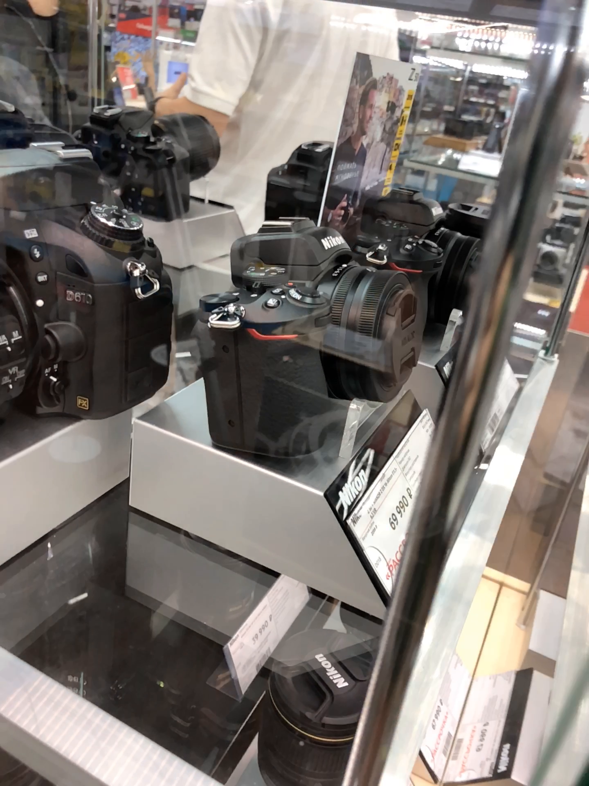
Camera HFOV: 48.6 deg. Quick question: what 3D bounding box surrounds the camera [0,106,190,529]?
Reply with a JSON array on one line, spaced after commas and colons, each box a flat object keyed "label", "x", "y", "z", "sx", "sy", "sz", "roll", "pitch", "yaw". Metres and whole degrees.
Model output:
[{"label": "camera", "x": -0.149, "y": -0.048, "z": 0.284, "sx": 0.129, "sy": 0.112, "sz": 0.150, "roll": 21, "pitch": 25, "yaw": 22}]

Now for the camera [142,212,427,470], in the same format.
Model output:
[{"label": "camera", "x": 0.004, "y": -0.037, "z": 0.332, "sx": 0.090, "sy": 0.092, "sz": 0.127, "roll": 8, "pitch": 23, "yaw": 25}]
